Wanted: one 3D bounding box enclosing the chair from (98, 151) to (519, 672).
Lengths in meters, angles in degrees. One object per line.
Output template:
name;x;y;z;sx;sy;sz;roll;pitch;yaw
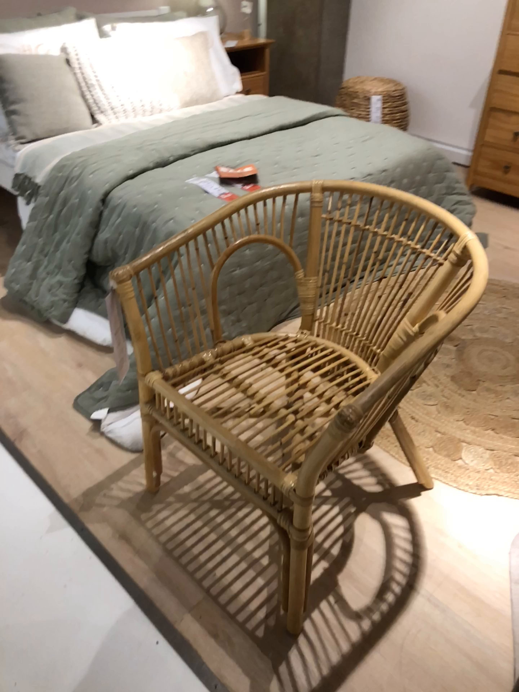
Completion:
chair;0.130;0.084;1.259;0.633;0.754;0.592;-28;45;-34
